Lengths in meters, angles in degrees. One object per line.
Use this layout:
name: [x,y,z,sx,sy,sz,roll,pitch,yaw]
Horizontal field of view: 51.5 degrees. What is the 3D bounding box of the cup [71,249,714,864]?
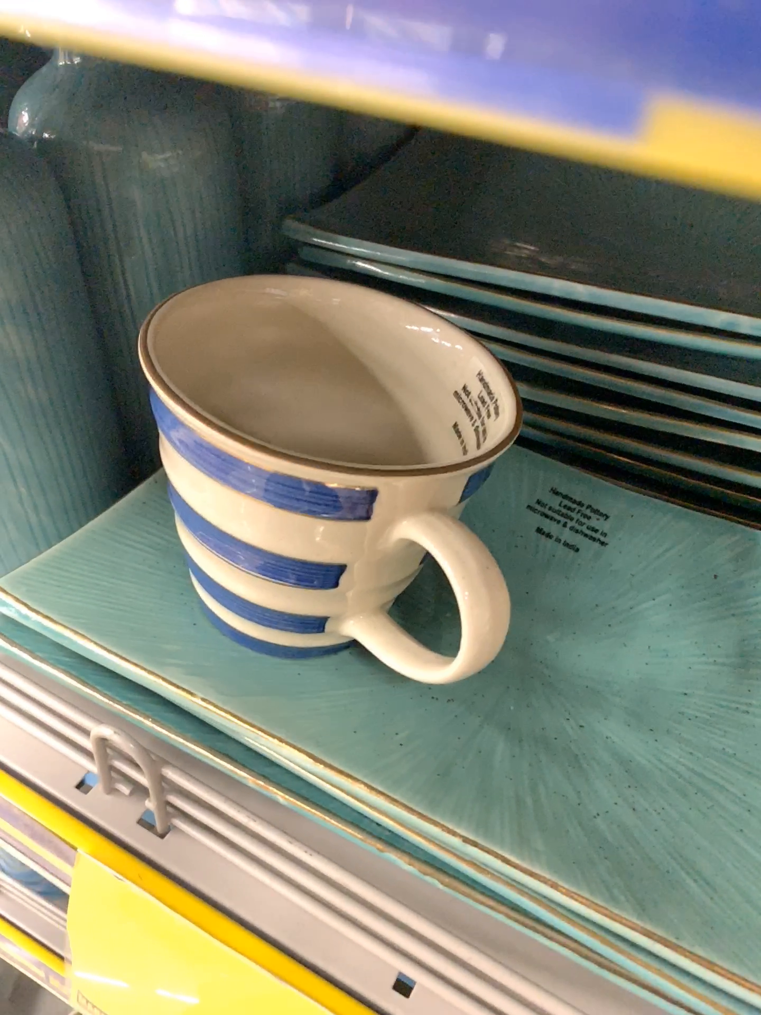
cup: [-0.005,-0.001,0.229,0.140,0.080,0.100,39,44,27]
